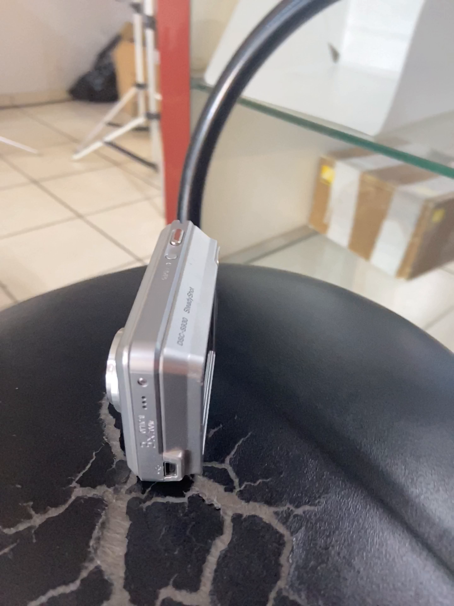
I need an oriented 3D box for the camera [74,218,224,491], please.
[{"bbox_3d":[-0.022,0.014,0.176,0.035,0.057,0.083,4,35,1],"label":"camera"}]
